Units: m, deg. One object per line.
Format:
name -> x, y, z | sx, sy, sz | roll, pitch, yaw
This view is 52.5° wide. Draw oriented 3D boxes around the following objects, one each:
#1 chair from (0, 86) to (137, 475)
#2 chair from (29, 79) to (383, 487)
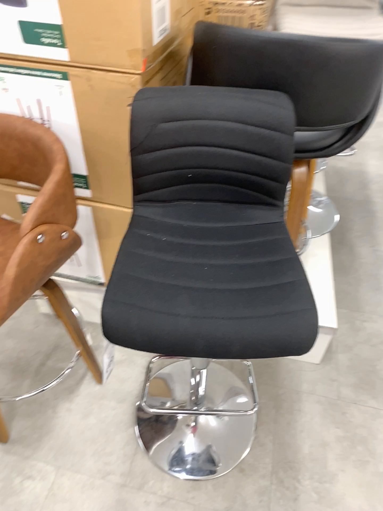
chair -> -0.546, 0.094, 1.112 | 0.525, 0.875, 0.522 | 18, 45, 17
chair -> 0.019, 0.157, 0.990 | 0.454, 0.993, 0.473 | 2, 43, 0
